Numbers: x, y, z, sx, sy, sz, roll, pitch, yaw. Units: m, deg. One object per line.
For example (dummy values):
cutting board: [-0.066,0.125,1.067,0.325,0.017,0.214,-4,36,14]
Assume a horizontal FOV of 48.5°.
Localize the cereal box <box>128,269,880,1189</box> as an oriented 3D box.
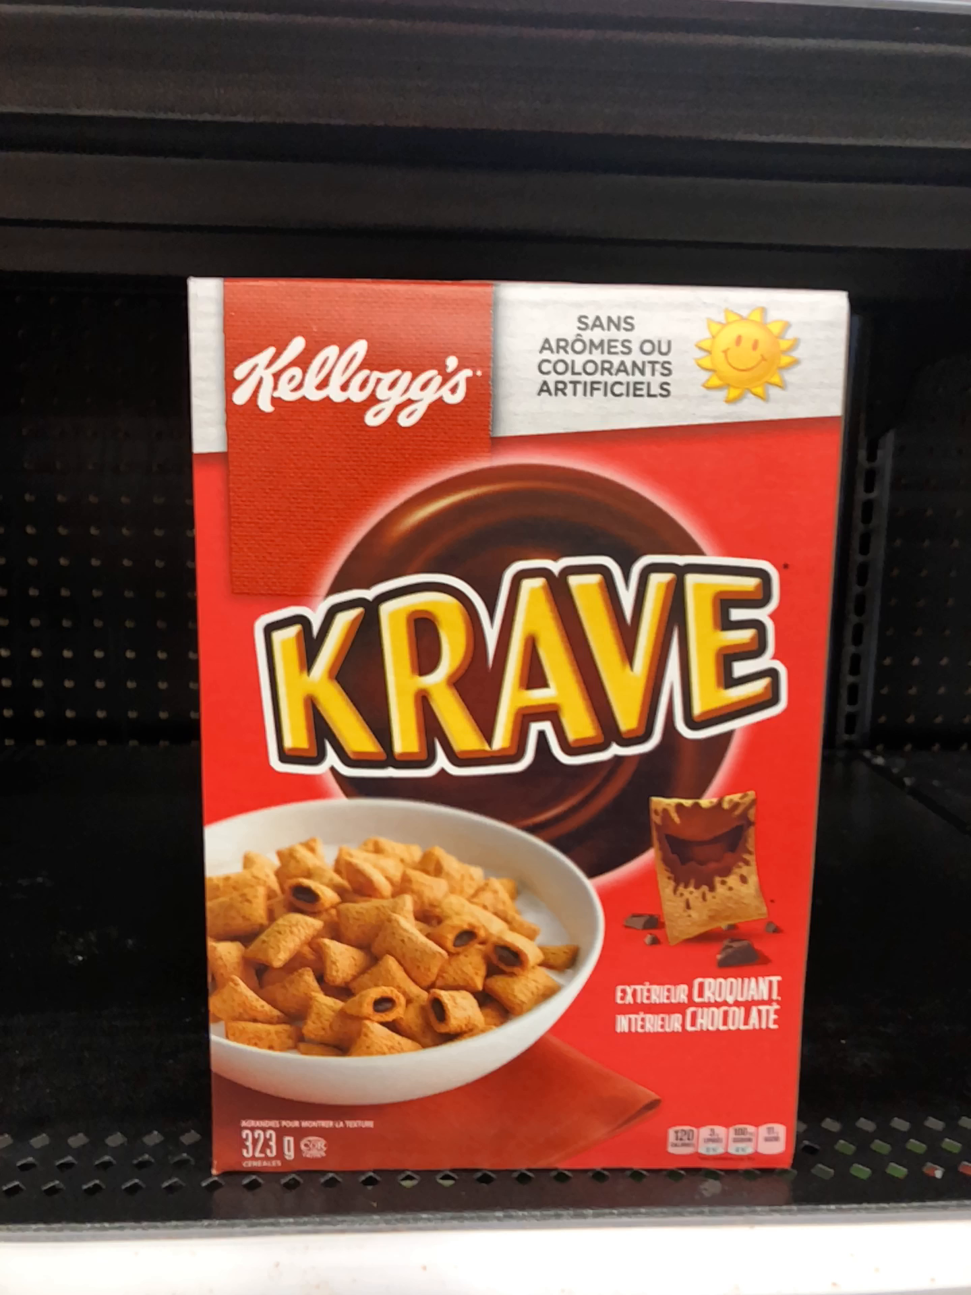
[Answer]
cereal box: [0.003,0.031,0.348,0.210,0.279,0.050,1,9,-2]
